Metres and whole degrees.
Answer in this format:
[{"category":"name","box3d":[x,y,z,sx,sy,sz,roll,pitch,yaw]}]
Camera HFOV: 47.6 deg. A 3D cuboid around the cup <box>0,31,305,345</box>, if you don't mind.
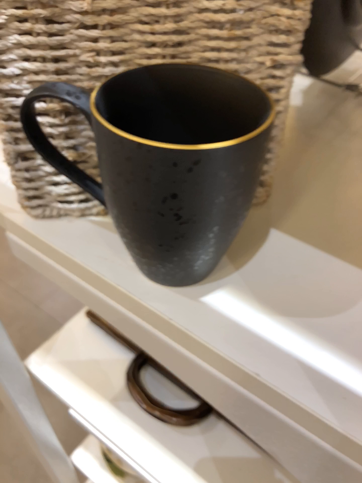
[{"category":"cup","box3d":[-0.018,-0.031,0.207,0.120,0.099,0.080,21,48,20]}]
